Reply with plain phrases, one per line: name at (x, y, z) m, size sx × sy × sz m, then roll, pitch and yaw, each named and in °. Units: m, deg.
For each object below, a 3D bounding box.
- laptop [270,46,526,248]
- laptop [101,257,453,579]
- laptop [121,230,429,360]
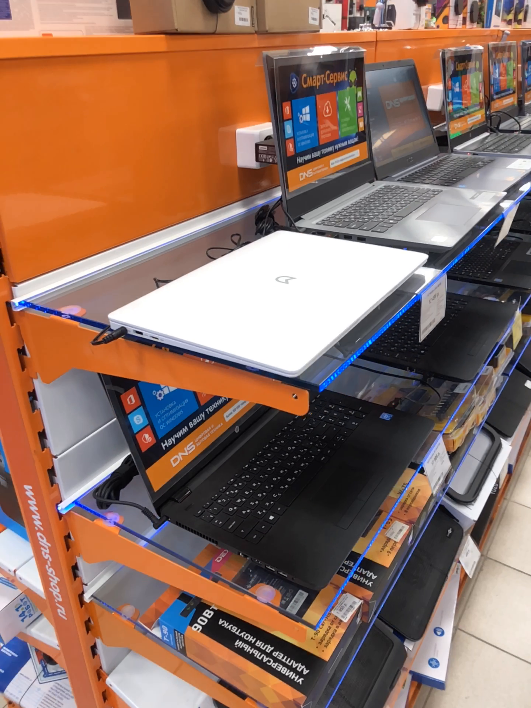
laptop at (0.210, -0.340, 0.895) m, size 0.279 × 0.224 × 0.345 m, roll 14°, pitch 32°, yaw 27°
laptop at (0.034, 0.048, 0.820) m, size 0.306 × 0.228 × 0.365 m, roll 16°, pitch 33°, yaw 31°
laptop at (0.028, -0.084, 0.649) m, size 0.212 × 0.002 × 0.314 m, roll 15°, pitch 32°, yaw 29°
